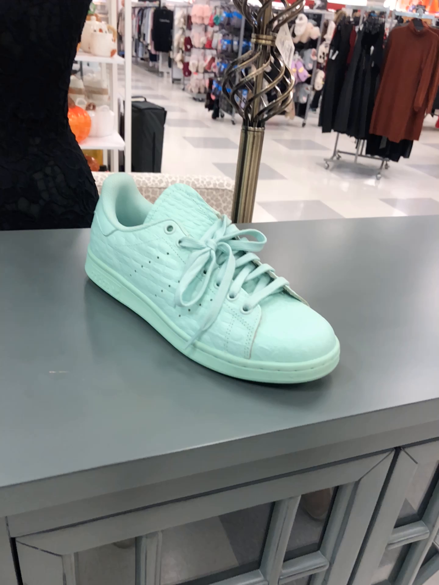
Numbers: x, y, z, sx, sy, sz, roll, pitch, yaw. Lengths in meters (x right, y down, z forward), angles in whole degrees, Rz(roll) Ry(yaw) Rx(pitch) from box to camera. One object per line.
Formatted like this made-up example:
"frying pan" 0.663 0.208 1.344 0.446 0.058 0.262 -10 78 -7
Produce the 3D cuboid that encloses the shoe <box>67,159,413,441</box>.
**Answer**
"shoe" -0.001 -0.017 0.391 0.252 0.112 0.107 27 35 33
